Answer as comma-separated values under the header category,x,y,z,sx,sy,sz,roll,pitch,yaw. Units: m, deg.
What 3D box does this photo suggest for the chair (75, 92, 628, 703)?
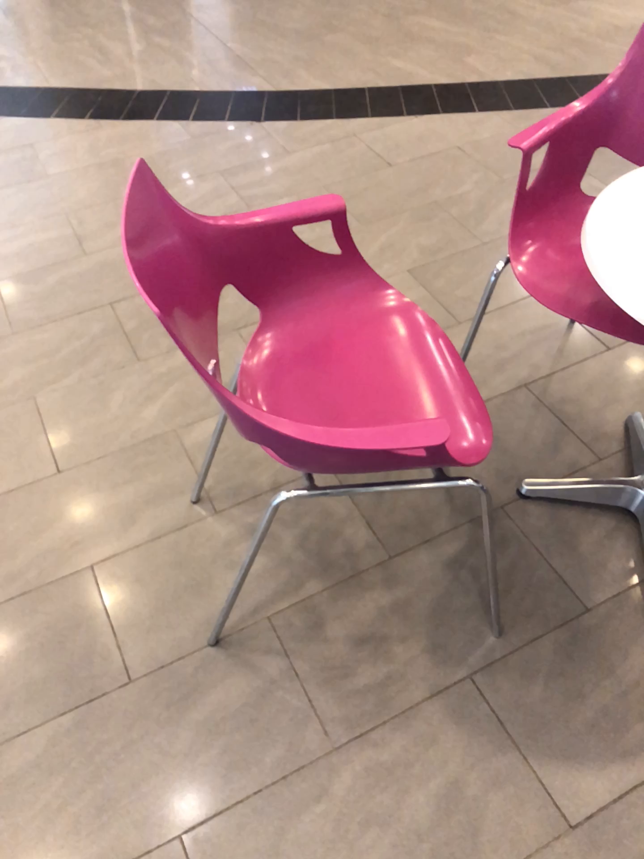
category,x,y,z,sx,sy,sz,roll,pitch,yaw
chair,-0.003,-0.038,1.229,0.590,0.757,0.632,-9,48,-6
